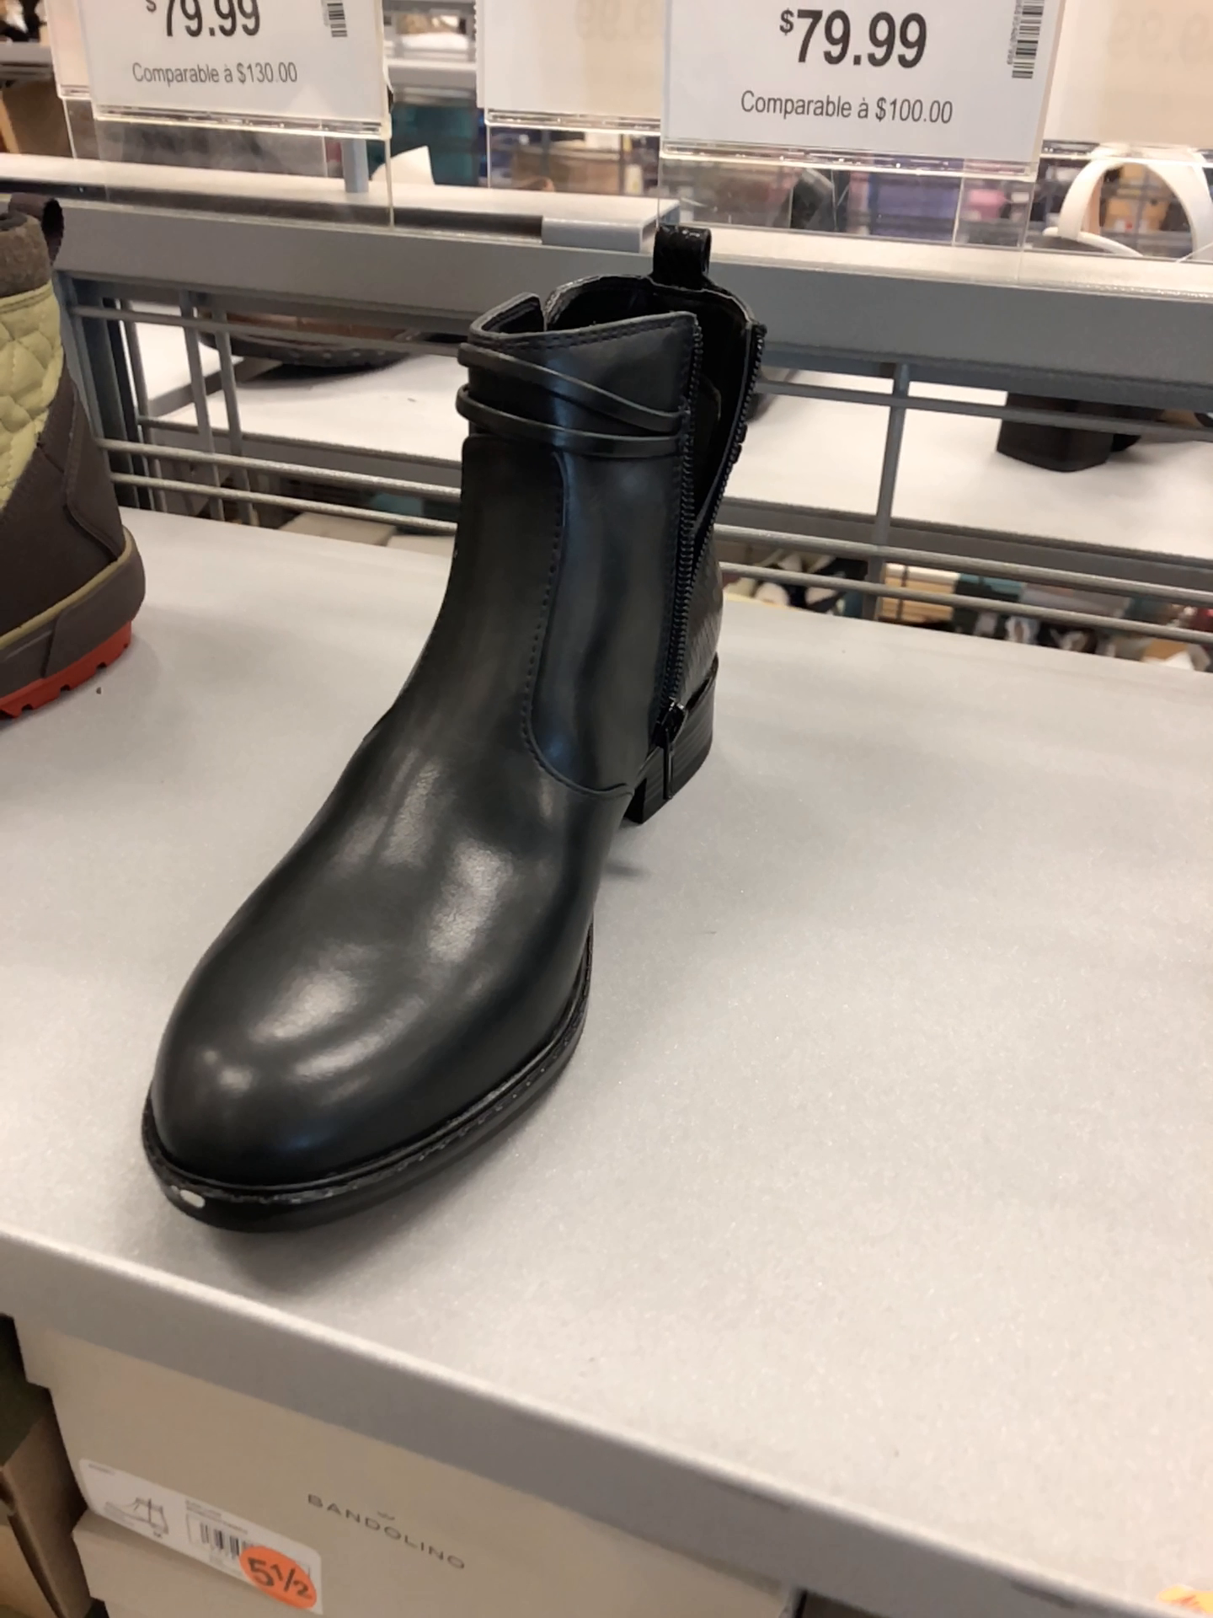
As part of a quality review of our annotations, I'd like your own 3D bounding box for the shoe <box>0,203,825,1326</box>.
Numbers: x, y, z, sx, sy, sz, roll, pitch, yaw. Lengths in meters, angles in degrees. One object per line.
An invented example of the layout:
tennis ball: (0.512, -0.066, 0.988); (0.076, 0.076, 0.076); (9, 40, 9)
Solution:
shoe: (-0.031, -0.037, 0.307); (0.090, 0.149, 0.232); (13, 35, 18)
